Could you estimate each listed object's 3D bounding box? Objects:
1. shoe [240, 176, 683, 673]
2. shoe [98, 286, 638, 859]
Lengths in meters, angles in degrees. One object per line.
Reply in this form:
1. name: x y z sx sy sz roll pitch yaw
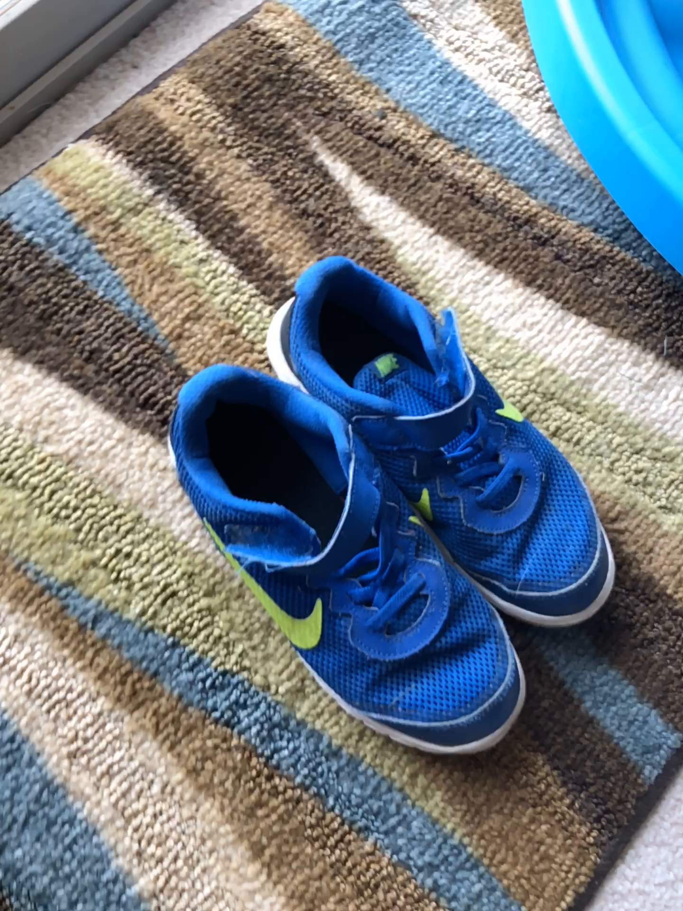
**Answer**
1. shoe: 0.066 -0.013 0.384 0.230 0.075 0.104 45 74 7
2. shoe: 0.006 0.049 0.359 0.102 0.075 0.233 -40 82 -16
